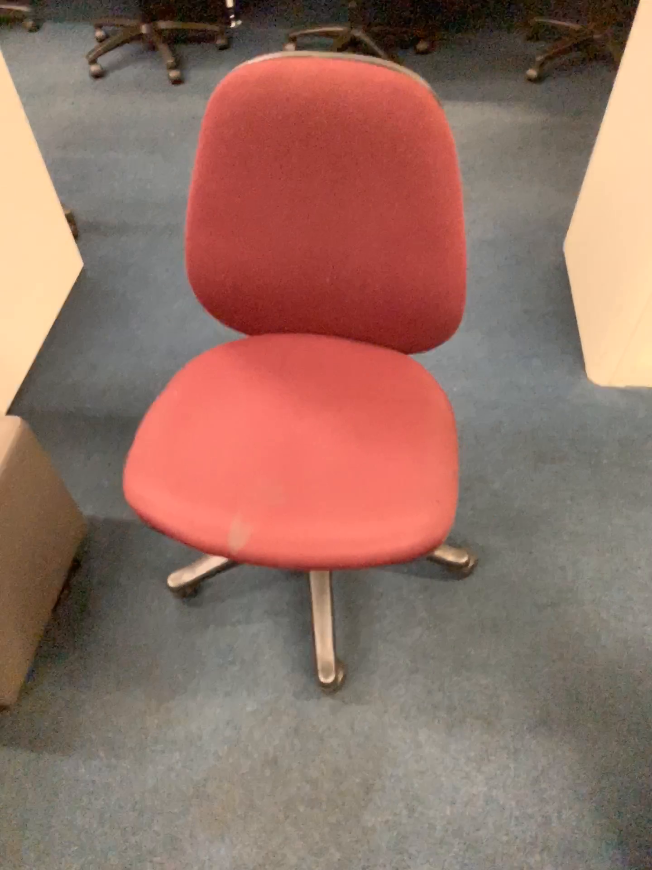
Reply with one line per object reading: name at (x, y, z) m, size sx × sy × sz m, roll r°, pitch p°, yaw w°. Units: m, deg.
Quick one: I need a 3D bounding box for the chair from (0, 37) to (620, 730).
chair at (-0.018, -0.053, 1.061) m, size 0.650 × 0.783 × 0.695 m, roll 8°, pitch 53°, yaw 8°
